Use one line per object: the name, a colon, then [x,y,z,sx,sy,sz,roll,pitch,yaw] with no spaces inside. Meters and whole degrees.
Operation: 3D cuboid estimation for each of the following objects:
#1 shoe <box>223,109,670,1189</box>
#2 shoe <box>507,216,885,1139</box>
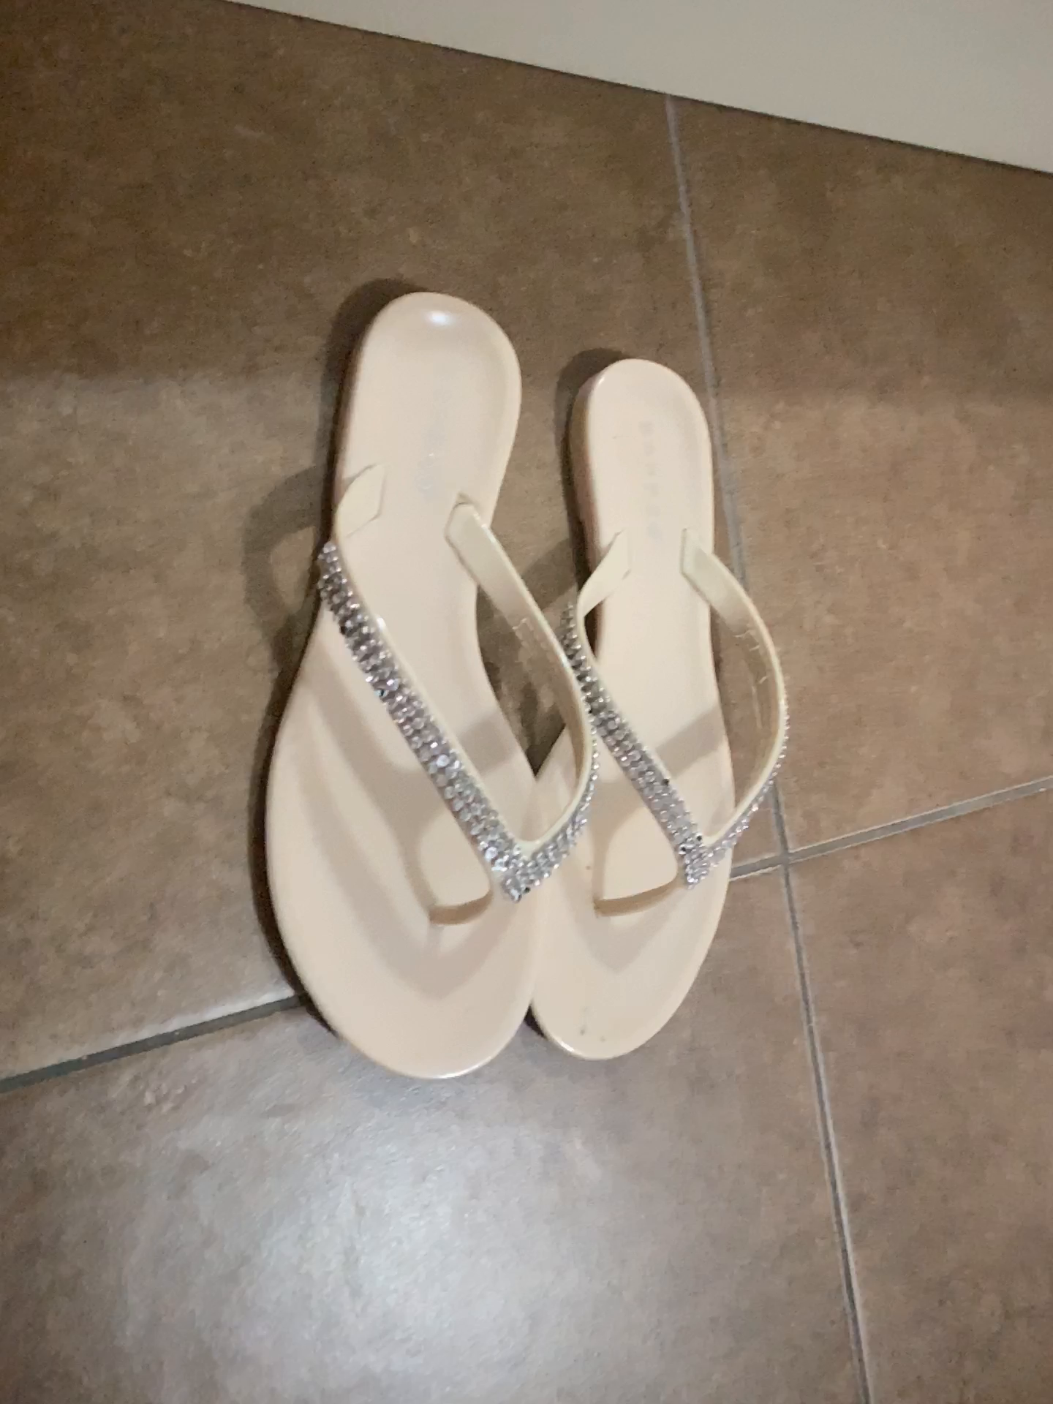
shoe: [-0.021,-0.012,0.298,0.093,0.067,0.249,5,83,-30]
shoe: [0.055,-0.006,0.340,0.092,0.067,0.249,5,83,-30]
